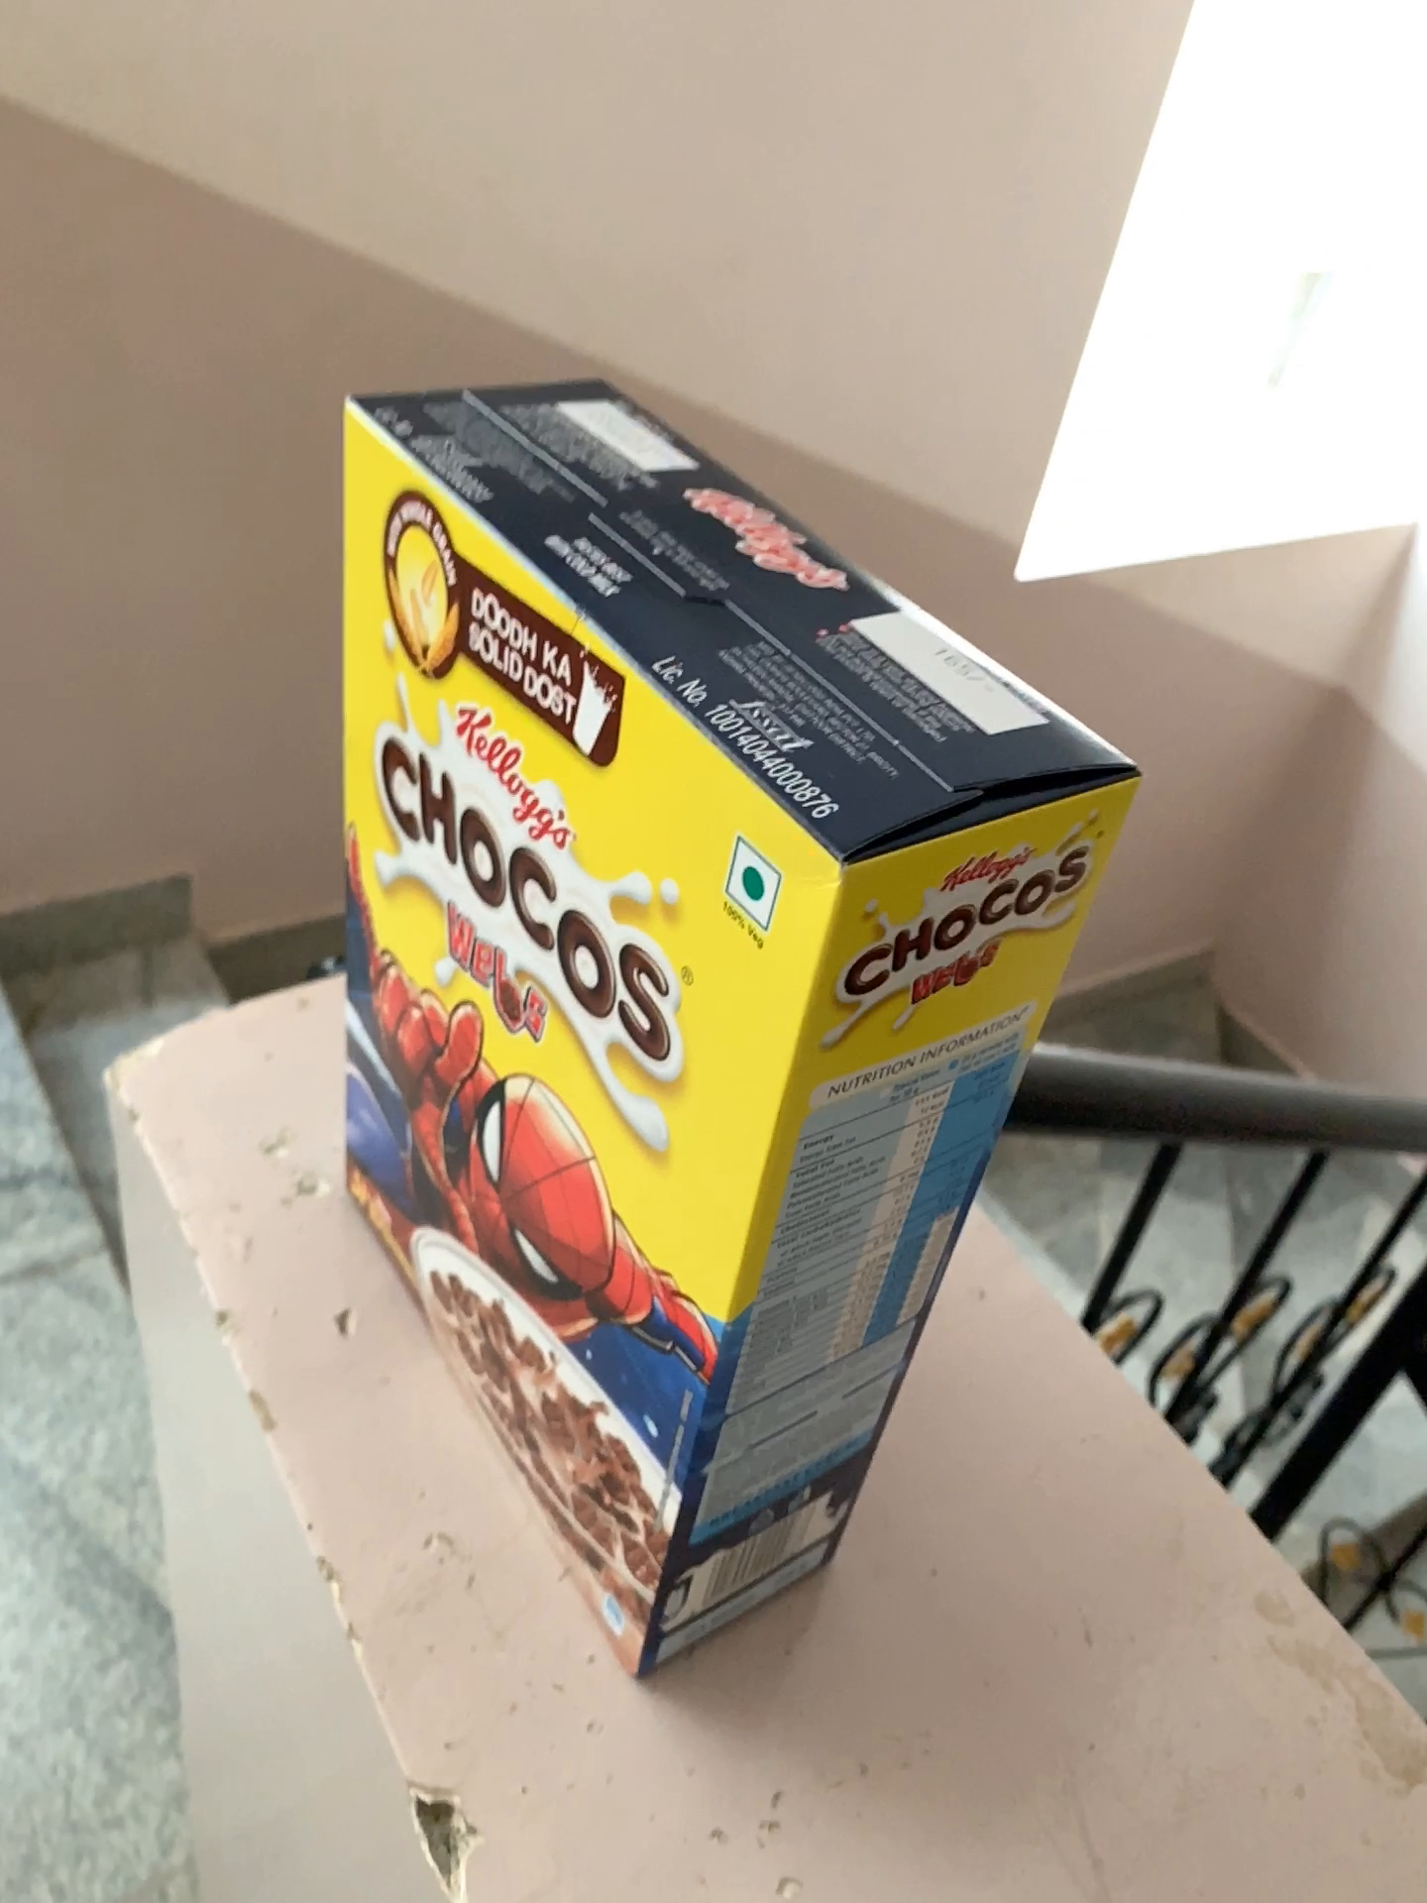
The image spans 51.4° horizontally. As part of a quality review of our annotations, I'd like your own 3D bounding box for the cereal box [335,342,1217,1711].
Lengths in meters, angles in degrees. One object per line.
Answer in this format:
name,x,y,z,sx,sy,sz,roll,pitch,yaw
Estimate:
cereal box,-0.019,0.018,0.349,0.070,0.248,0.191,-15,45,-29
